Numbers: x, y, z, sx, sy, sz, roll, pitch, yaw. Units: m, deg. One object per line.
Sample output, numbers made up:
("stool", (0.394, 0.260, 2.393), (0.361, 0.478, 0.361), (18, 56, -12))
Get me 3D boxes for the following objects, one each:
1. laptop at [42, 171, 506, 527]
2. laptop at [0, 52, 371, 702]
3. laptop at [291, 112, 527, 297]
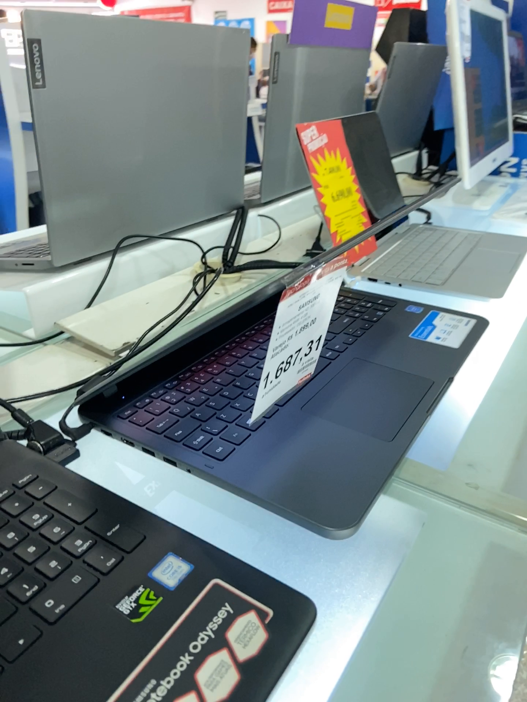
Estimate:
("laptop", (0.045, -0.056, 0.484), (0.235, 0.139, 0.369), (15, 30, 29))
("laptop", (-0.244, 0.053, 0.158), (0.371, 0.223, 0.396), (14, 28, 27))
("laptop", (0.240, -0.245, 0.807), (0.296, 0.177, 0.317), (16, 31, 28))
